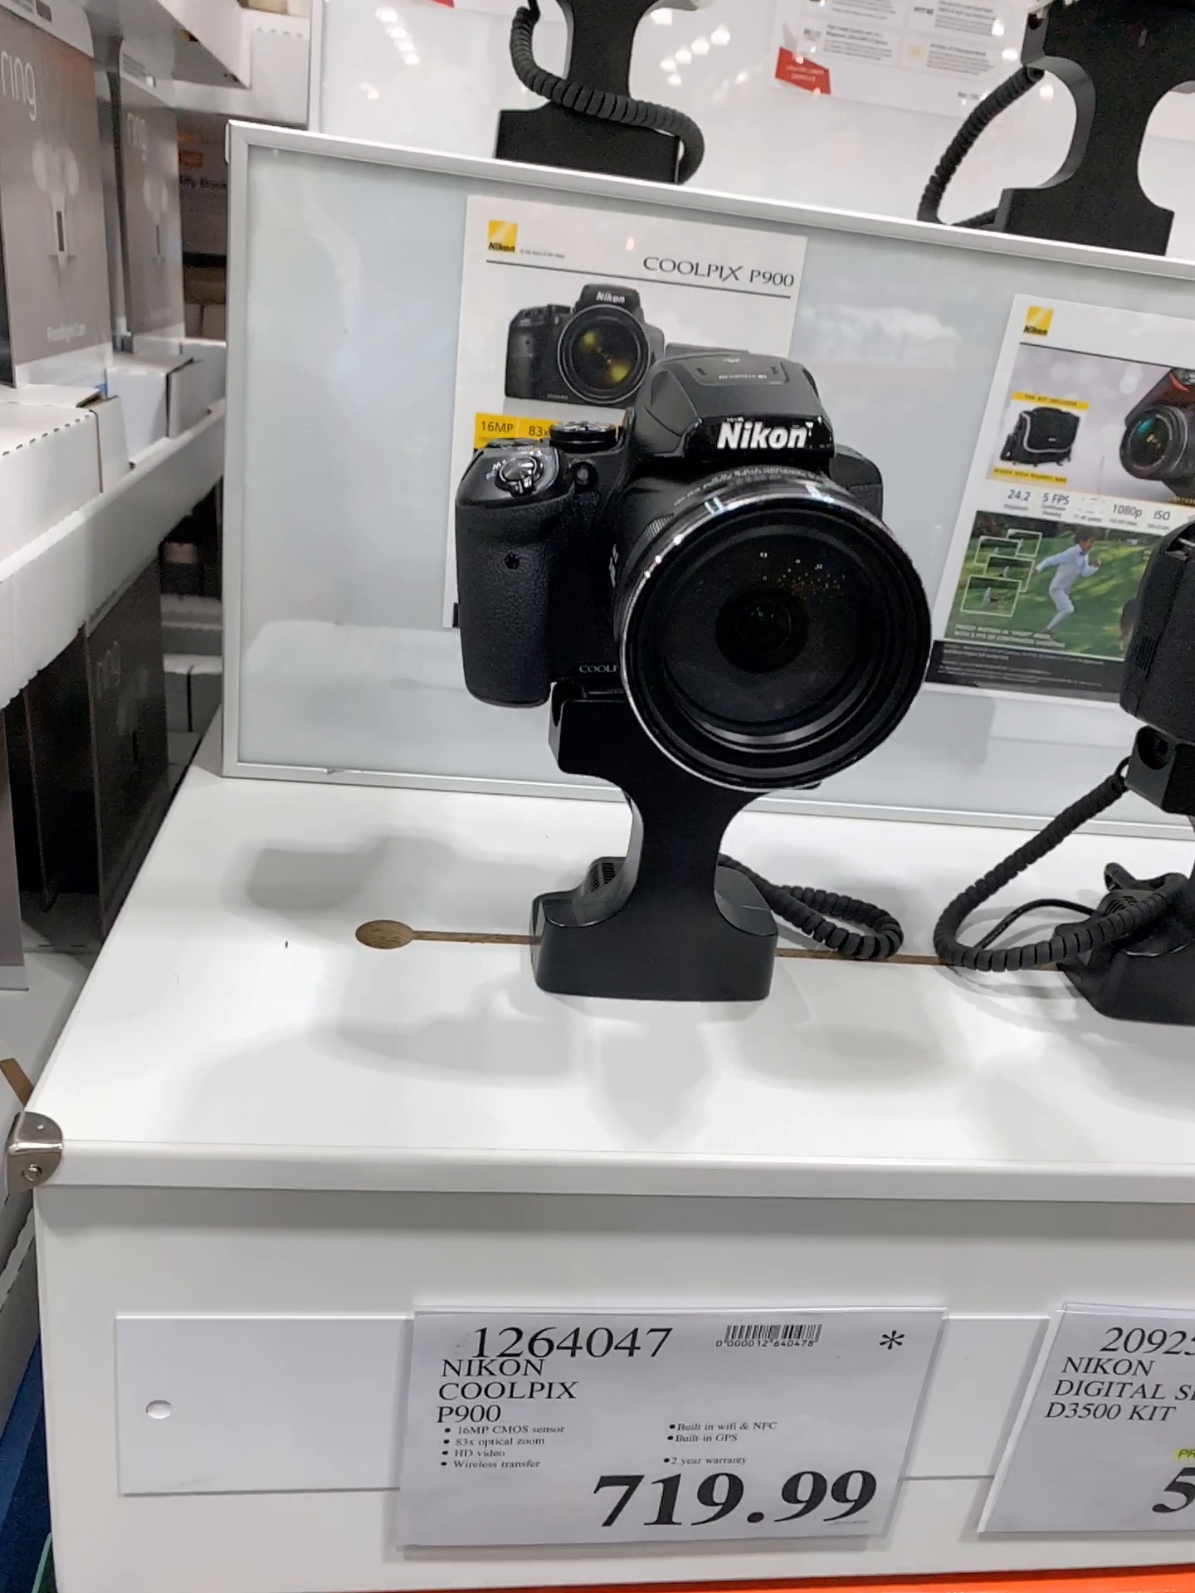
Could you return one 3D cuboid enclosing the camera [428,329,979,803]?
[{"bbox_3d":[0.019,-0.079,0.379,0.130,0.109,0.151,1,23,-4],"label":"camera"}]
